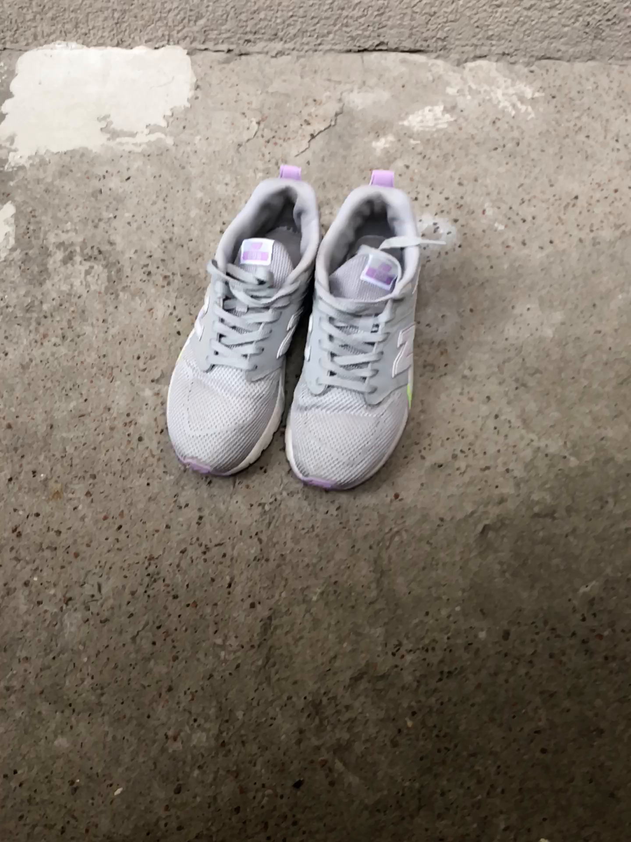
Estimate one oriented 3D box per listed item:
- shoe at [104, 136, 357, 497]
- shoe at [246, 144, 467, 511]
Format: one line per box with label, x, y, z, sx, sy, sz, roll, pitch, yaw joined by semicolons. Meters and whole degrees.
shoe;-0.058;-0.090;0.587;0.110;0.100;0.271;16;71;9
shoe;0.039;-0.078;0.574;0.110;0.100;0.271;13;70;7
